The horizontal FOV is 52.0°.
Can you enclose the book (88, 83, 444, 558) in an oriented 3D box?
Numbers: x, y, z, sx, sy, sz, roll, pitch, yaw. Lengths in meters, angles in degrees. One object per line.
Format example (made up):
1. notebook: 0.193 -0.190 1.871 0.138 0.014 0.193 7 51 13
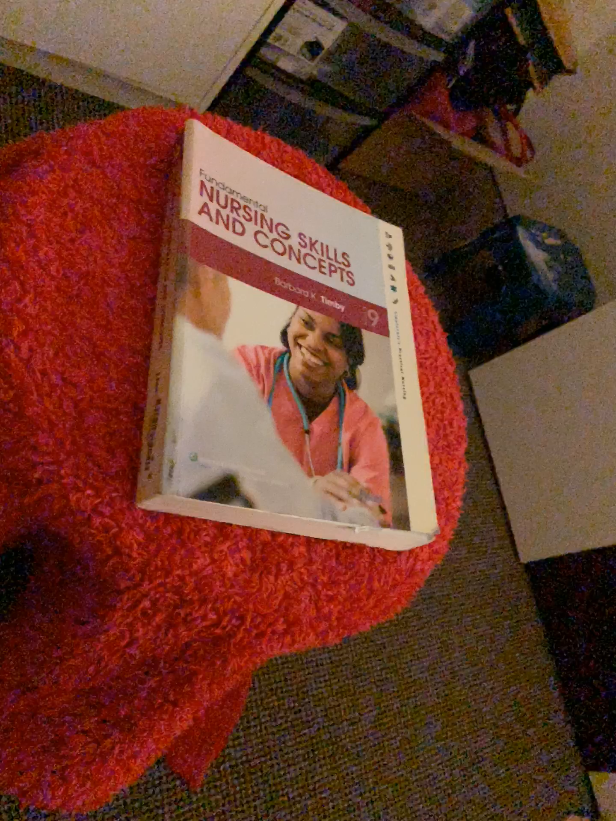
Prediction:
1. book: -0.020 -0.058 0.474 0.231 0.069 0.301 16 60 -34
